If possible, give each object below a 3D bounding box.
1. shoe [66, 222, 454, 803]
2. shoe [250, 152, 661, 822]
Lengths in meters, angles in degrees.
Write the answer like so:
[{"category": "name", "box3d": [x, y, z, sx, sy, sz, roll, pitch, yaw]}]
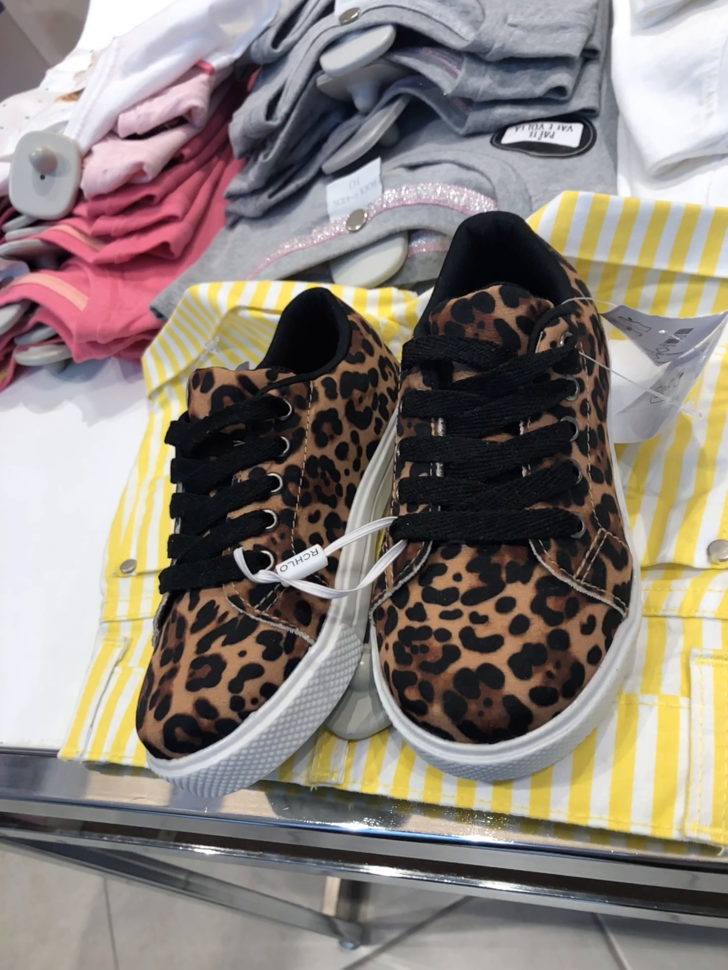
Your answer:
[{"category": "shoe", "box3d": [-0.029, 0.010, 0.273, 0.080, 0.060, 0.171, -24, 46, 47]}, {"category": "shoe", "box3d": [0.041, -0.001, 0.245, 0.080, 0.080, 0.171, -2, 60, 26]}]
